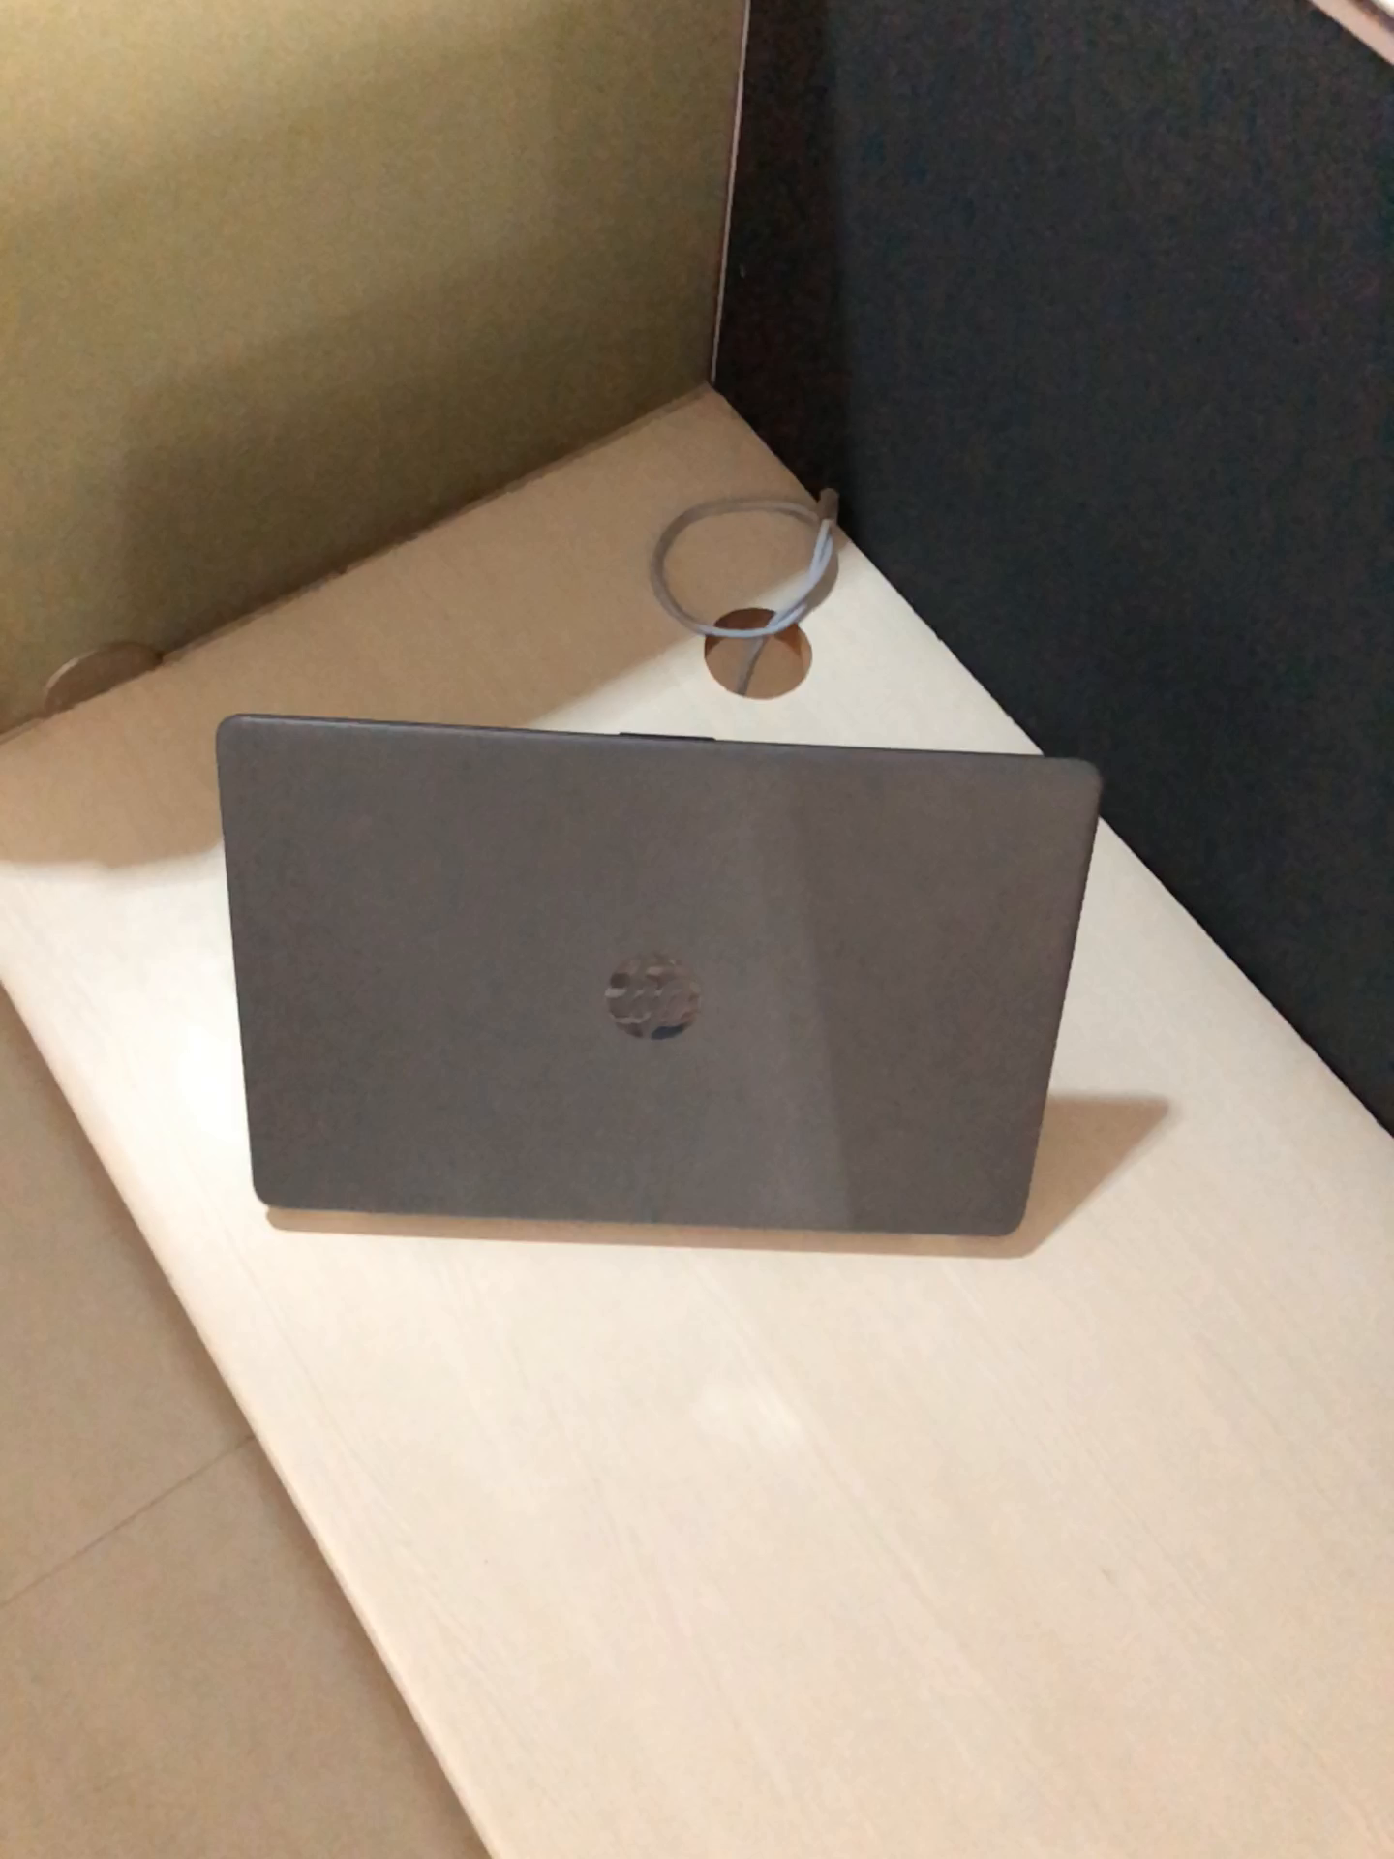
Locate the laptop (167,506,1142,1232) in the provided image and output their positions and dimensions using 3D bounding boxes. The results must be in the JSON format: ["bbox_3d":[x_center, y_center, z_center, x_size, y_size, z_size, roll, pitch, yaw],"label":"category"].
[{"bbox_3d":[-0.018,-0.017,0.709,0.361,0.204,0.247,3,65,-2],"label":"laptop"}]
